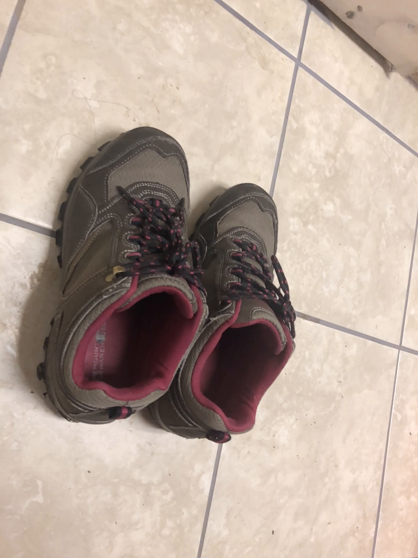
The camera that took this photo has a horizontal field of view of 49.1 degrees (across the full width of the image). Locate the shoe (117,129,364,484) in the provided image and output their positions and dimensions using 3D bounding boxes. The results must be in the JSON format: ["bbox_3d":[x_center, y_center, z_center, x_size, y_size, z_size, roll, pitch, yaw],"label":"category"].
[{"bbox_3d":[0.031,0.024,0.413,0.110,0.120,0.260,24,75,-32],"label":"shoe"}]

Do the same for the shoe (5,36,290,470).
[{"bbox_3d":[-0.046,-0.012,0.359,0.120,0.120,0.270,19,78,-33],"label":"shoe"}]
